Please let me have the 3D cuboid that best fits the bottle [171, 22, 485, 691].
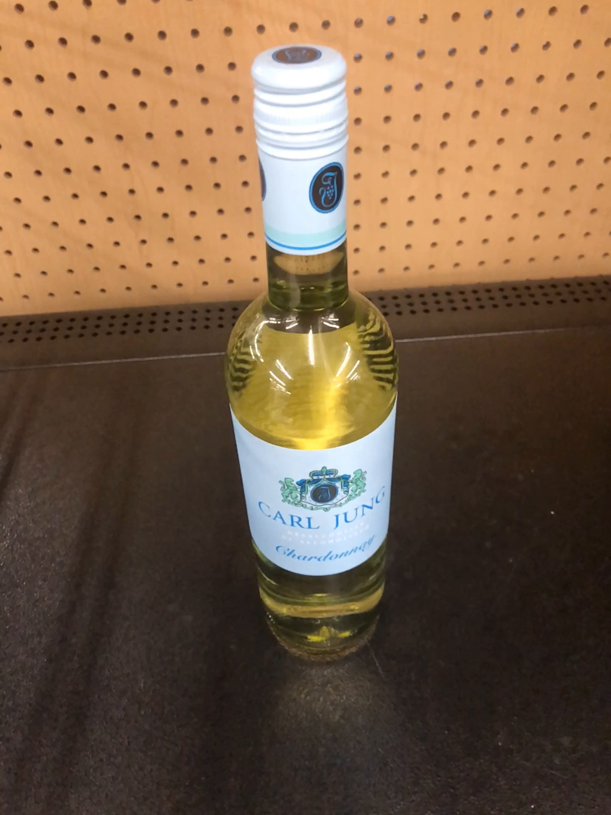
[{"bbox_3d":[0.007,0.015,0.310,0.080,0.318,0.081,-2,44,2],"label":"bottle"}]
